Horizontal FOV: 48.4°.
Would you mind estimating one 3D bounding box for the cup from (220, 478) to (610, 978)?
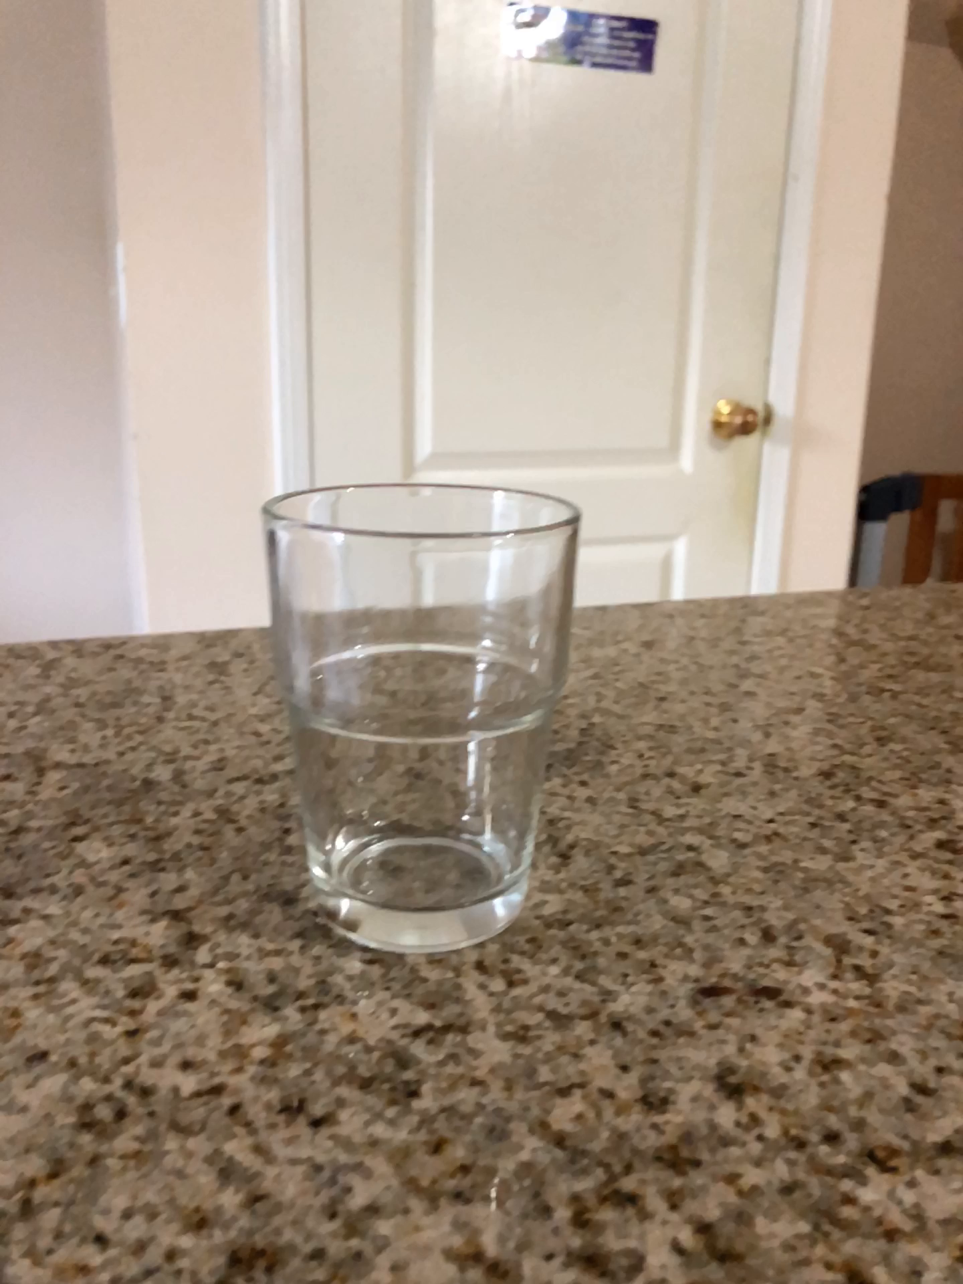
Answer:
[{"bbox_3d":[-0.014,0.015,0.273,0.070,0.100,0.070,1,15,0],"label":"cup"}]
